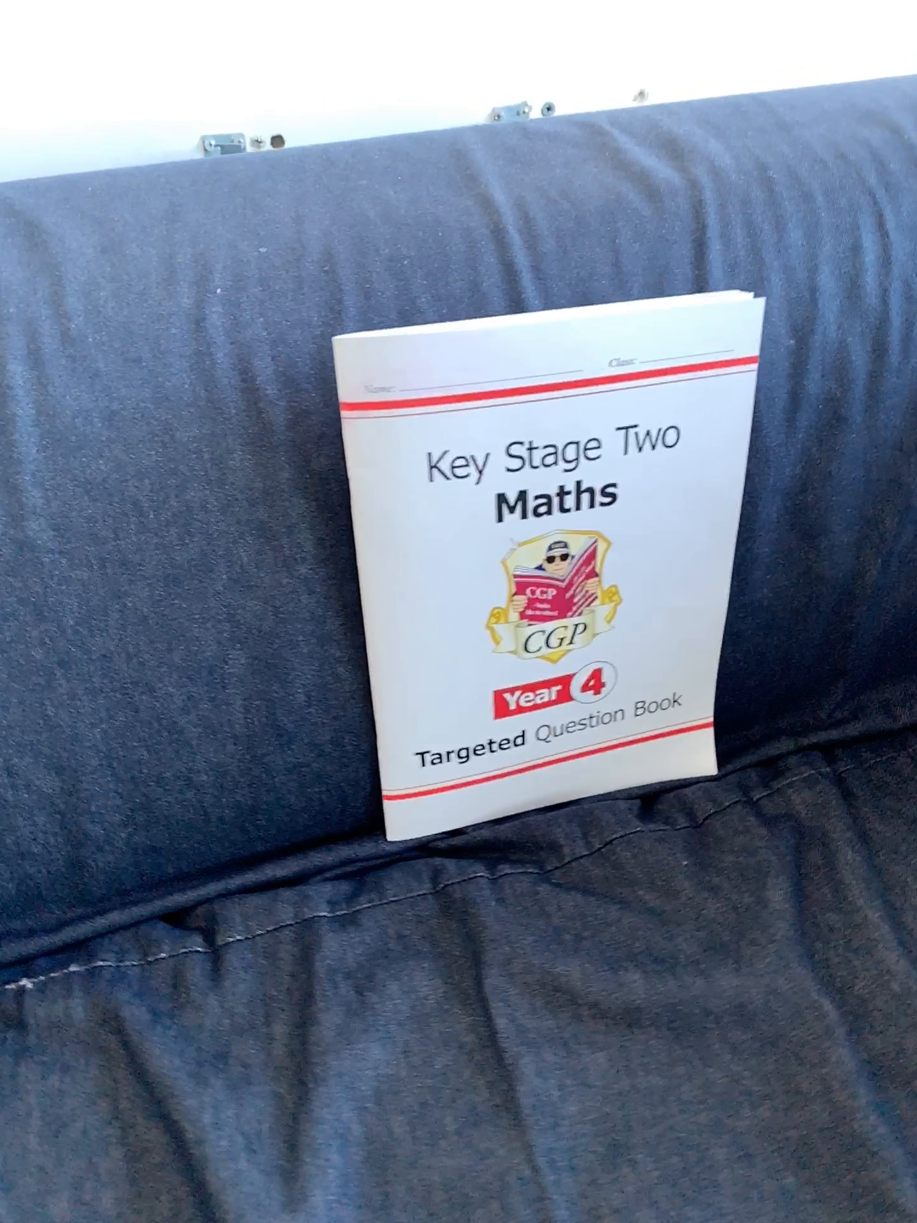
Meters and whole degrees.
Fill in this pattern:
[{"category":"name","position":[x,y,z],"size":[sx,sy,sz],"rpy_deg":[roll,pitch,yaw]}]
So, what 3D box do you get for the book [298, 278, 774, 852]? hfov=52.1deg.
[{"category":"book","position":[0.050,-0.018,0.484],"size":[0.220,0.266,0.030],"rpy_deg":[-10,23,-9]}]
